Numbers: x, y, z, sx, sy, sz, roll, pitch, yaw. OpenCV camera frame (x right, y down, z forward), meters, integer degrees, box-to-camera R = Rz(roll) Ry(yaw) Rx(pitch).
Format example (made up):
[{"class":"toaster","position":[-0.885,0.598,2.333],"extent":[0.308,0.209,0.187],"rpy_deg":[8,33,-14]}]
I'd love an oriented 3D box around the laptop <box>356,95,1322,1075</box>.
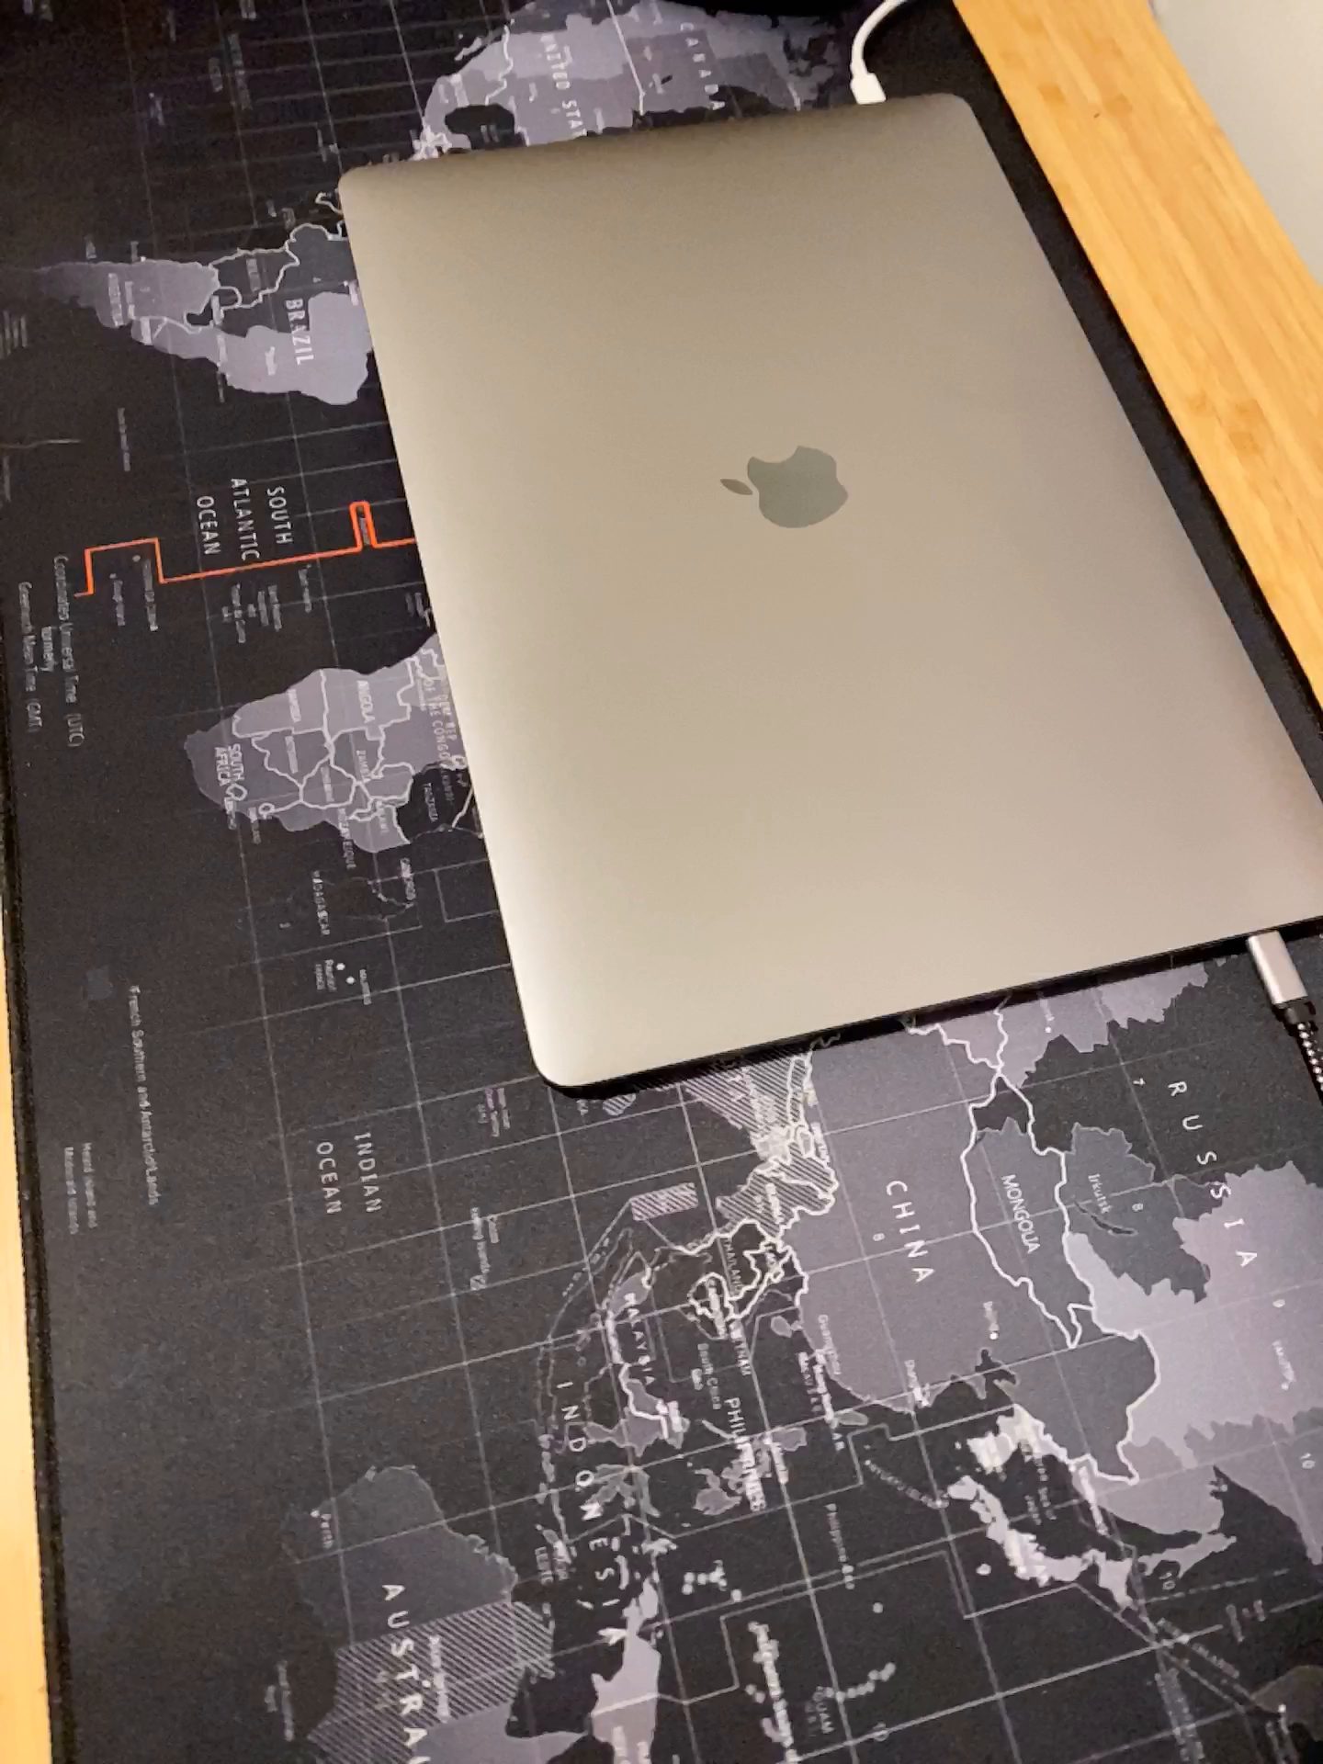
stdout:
[{"class":"laptop","position":[0.039,-0.124,0.425],"extent":[0.226,0.002,0.336],"rpy_deg":[-11,65,-8]}]
